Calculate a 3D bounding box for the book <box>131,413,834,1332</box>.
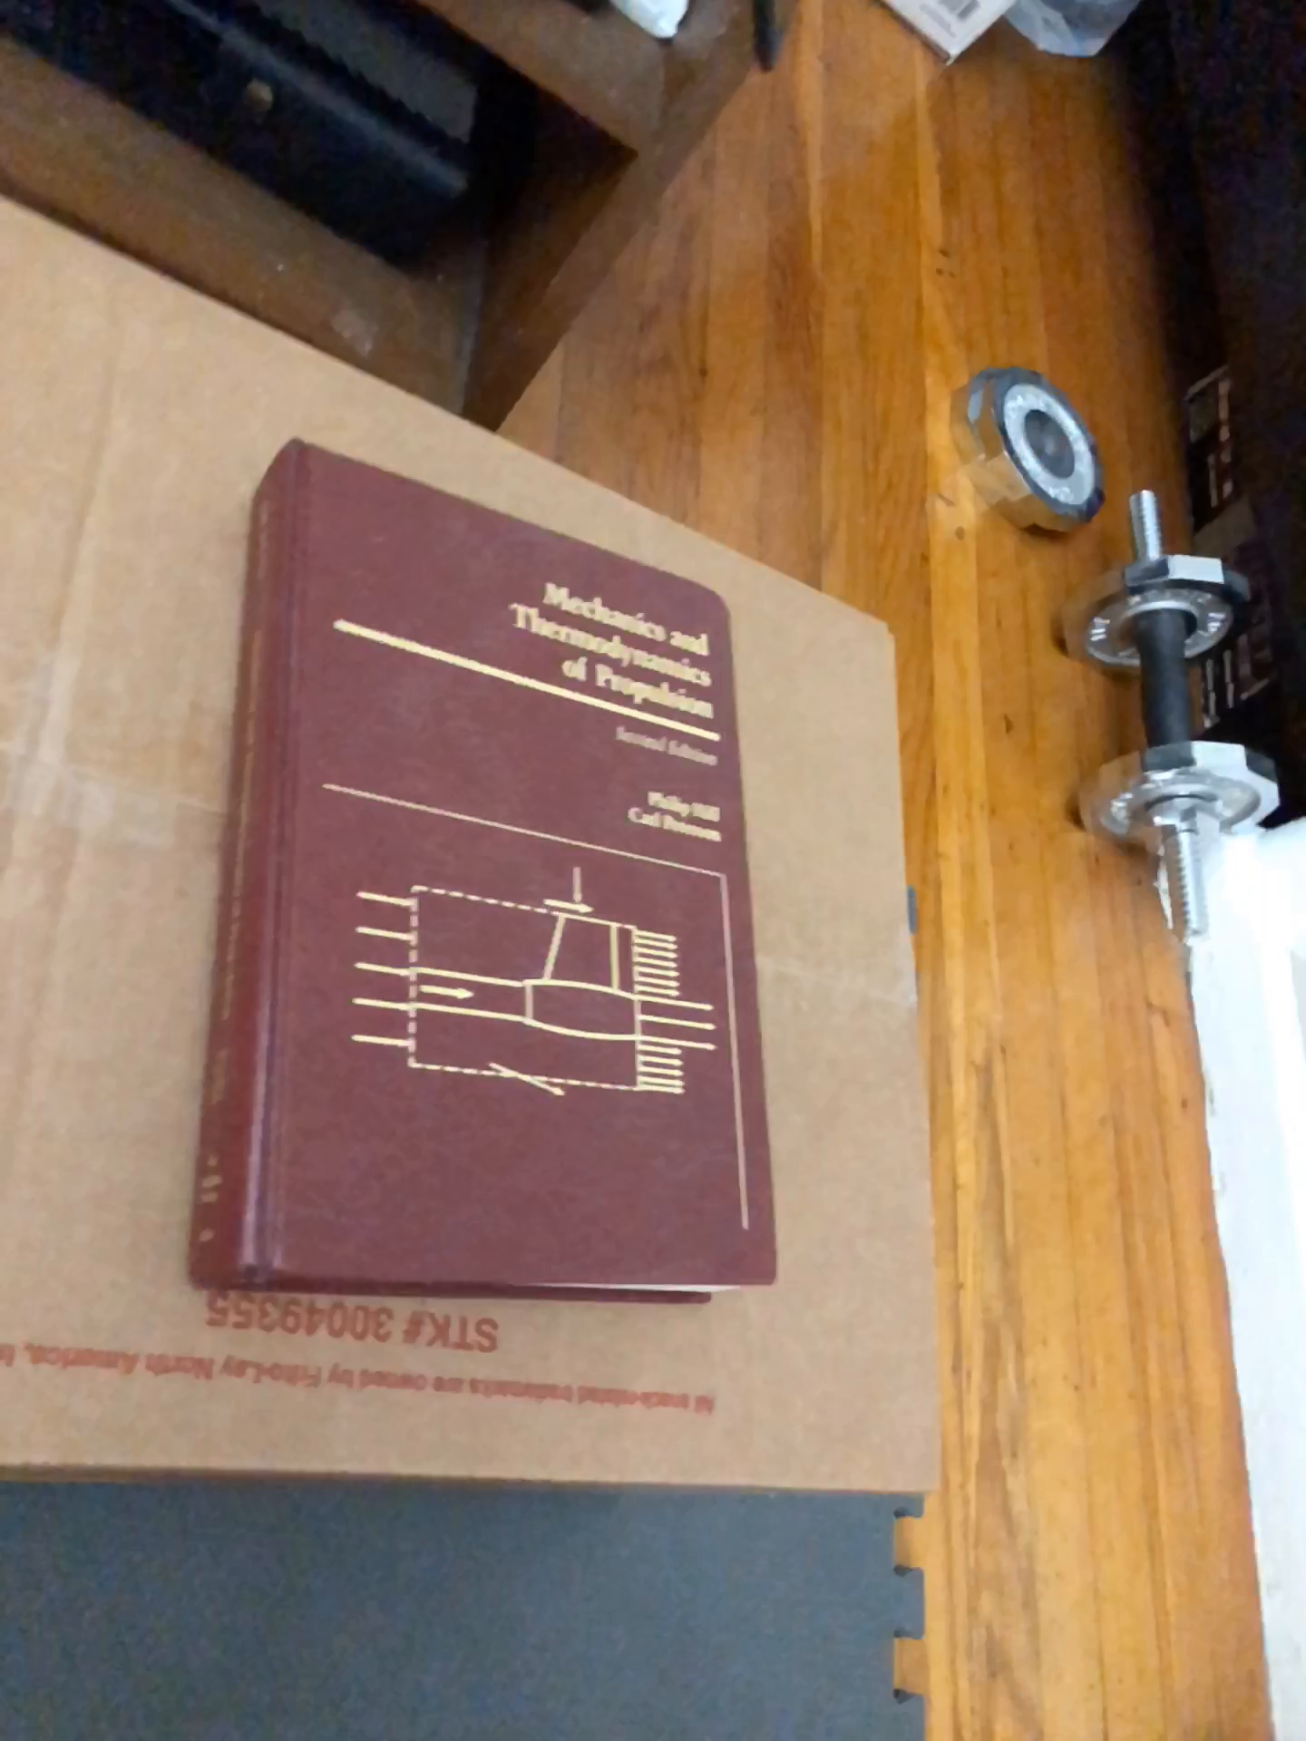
[{"bbox_3d":[-0.039,0.008,0.426,0.190,0.040,0.241,14,63,-34],"label":"book"}]
